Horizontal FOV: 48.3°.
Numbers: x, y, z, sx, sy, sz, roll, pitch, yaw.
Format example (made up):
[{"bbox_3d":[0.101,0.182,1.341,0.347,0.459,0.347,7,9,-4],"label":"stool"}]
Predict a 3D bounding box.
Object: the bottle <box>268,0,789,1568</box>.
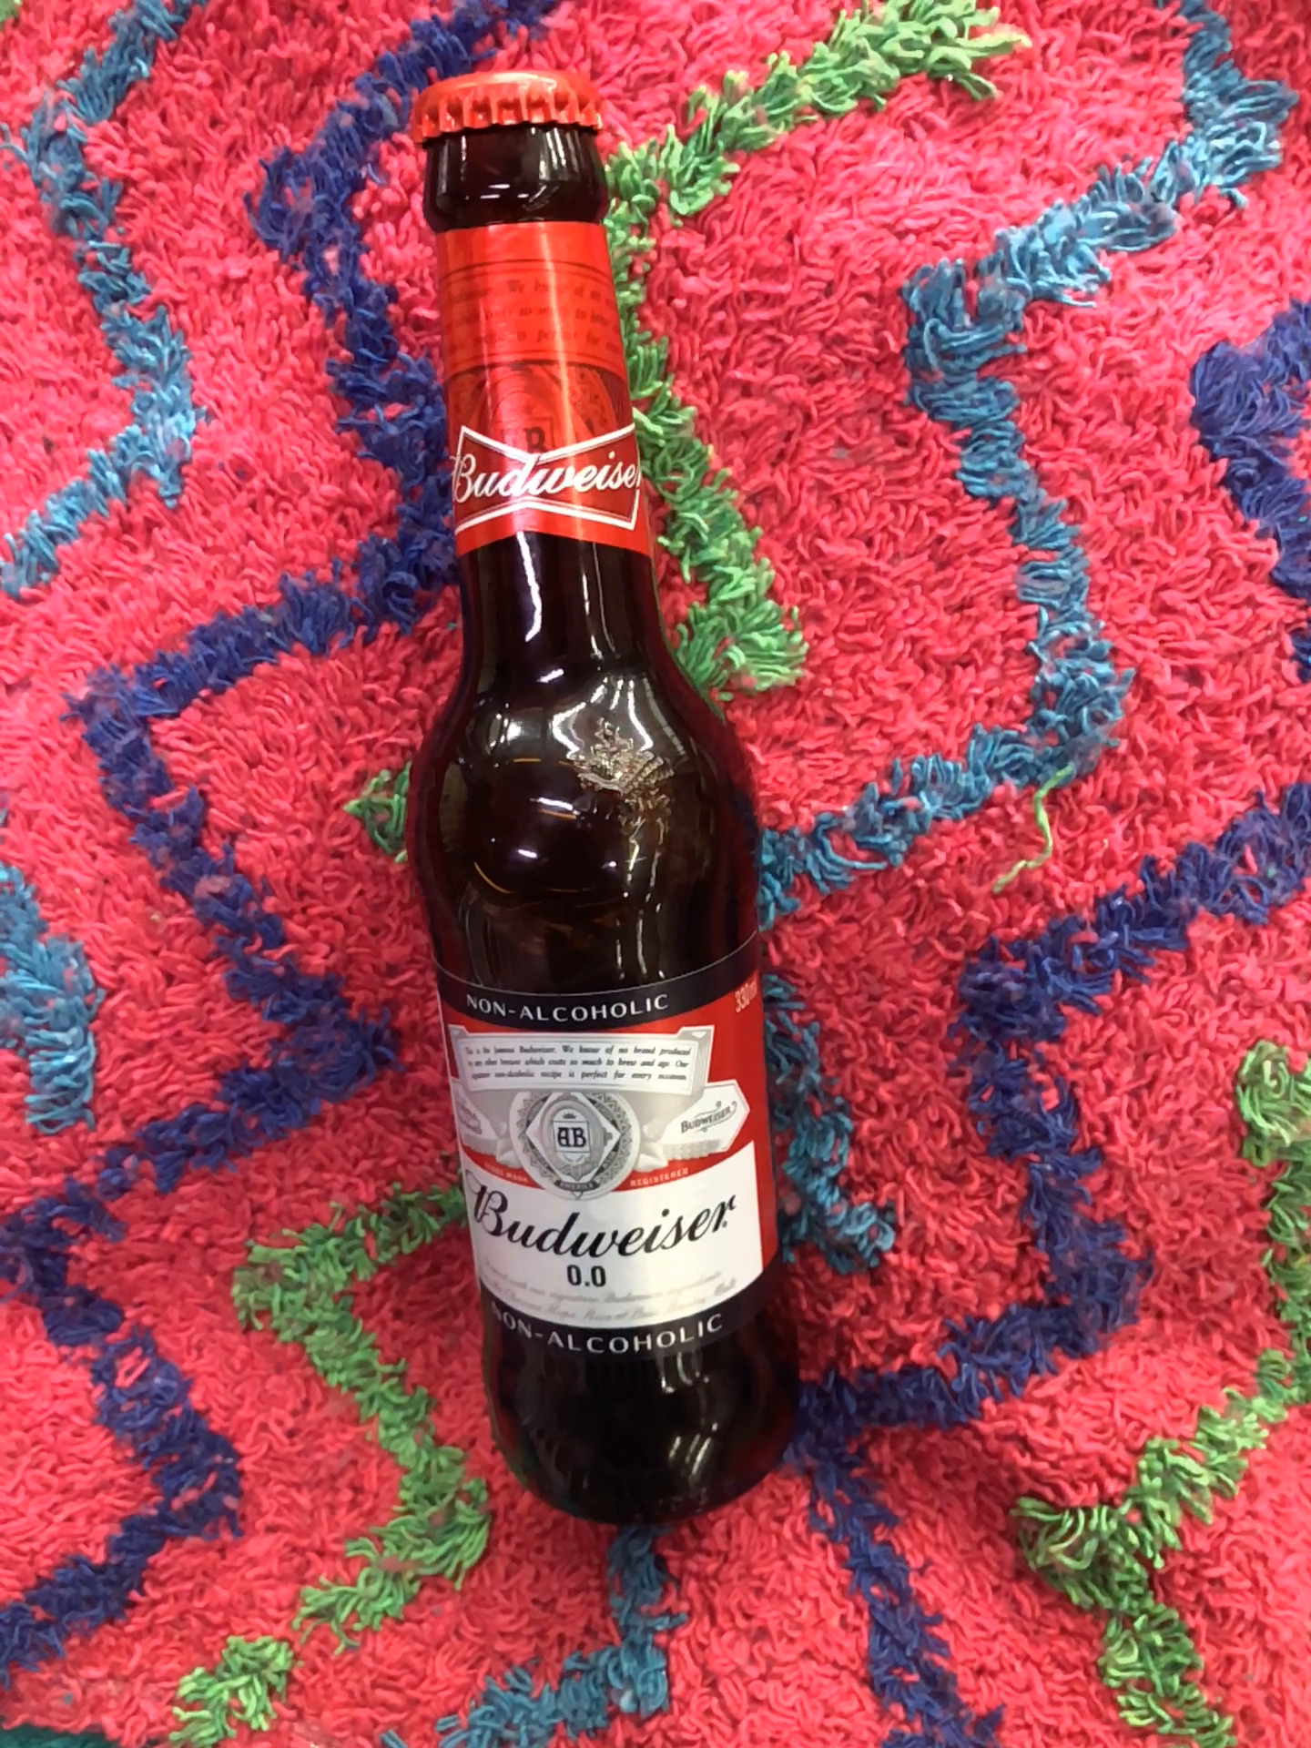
[{"bbox_3d":[-0.014,-0.007,0.256,0.060,0.050,0.250,-1,103,11],"label":"bottle"}]
